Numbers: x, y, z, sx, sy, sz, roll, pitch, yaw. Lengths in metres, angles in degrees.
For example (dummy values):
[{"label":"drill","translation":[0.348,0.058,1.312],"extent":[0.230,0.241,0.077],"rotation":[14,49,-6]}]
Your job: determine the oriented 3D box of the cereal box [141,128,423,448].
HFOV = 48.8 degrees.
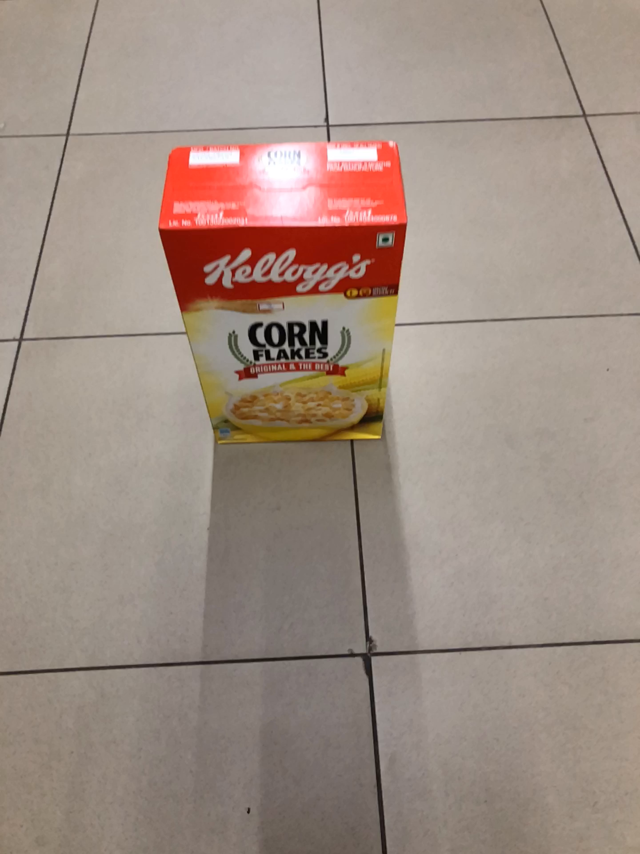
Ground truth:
[{"label":"cereal box","translation":[-0.028,-0.106,0.663],"extent":[0.200,0.318,0.101],"rotation":[-2,59,-1]}]
